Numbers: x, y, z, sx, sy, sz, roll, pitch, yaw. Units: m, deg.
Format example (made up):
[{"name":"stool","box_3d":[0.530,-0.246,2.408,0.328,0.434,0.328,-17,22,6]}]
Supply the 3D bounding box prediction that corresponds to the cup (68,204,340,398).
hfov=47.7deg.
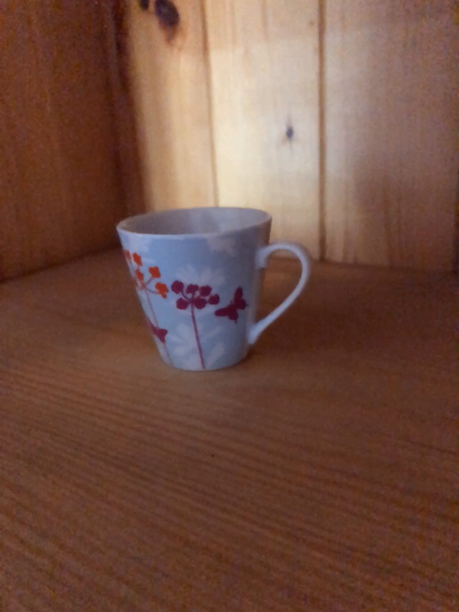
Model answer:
[{"name":"cup","box_3d":[-0.005,-0.009,0.205,0.080,0.050,0.070,6,21,25]}]
